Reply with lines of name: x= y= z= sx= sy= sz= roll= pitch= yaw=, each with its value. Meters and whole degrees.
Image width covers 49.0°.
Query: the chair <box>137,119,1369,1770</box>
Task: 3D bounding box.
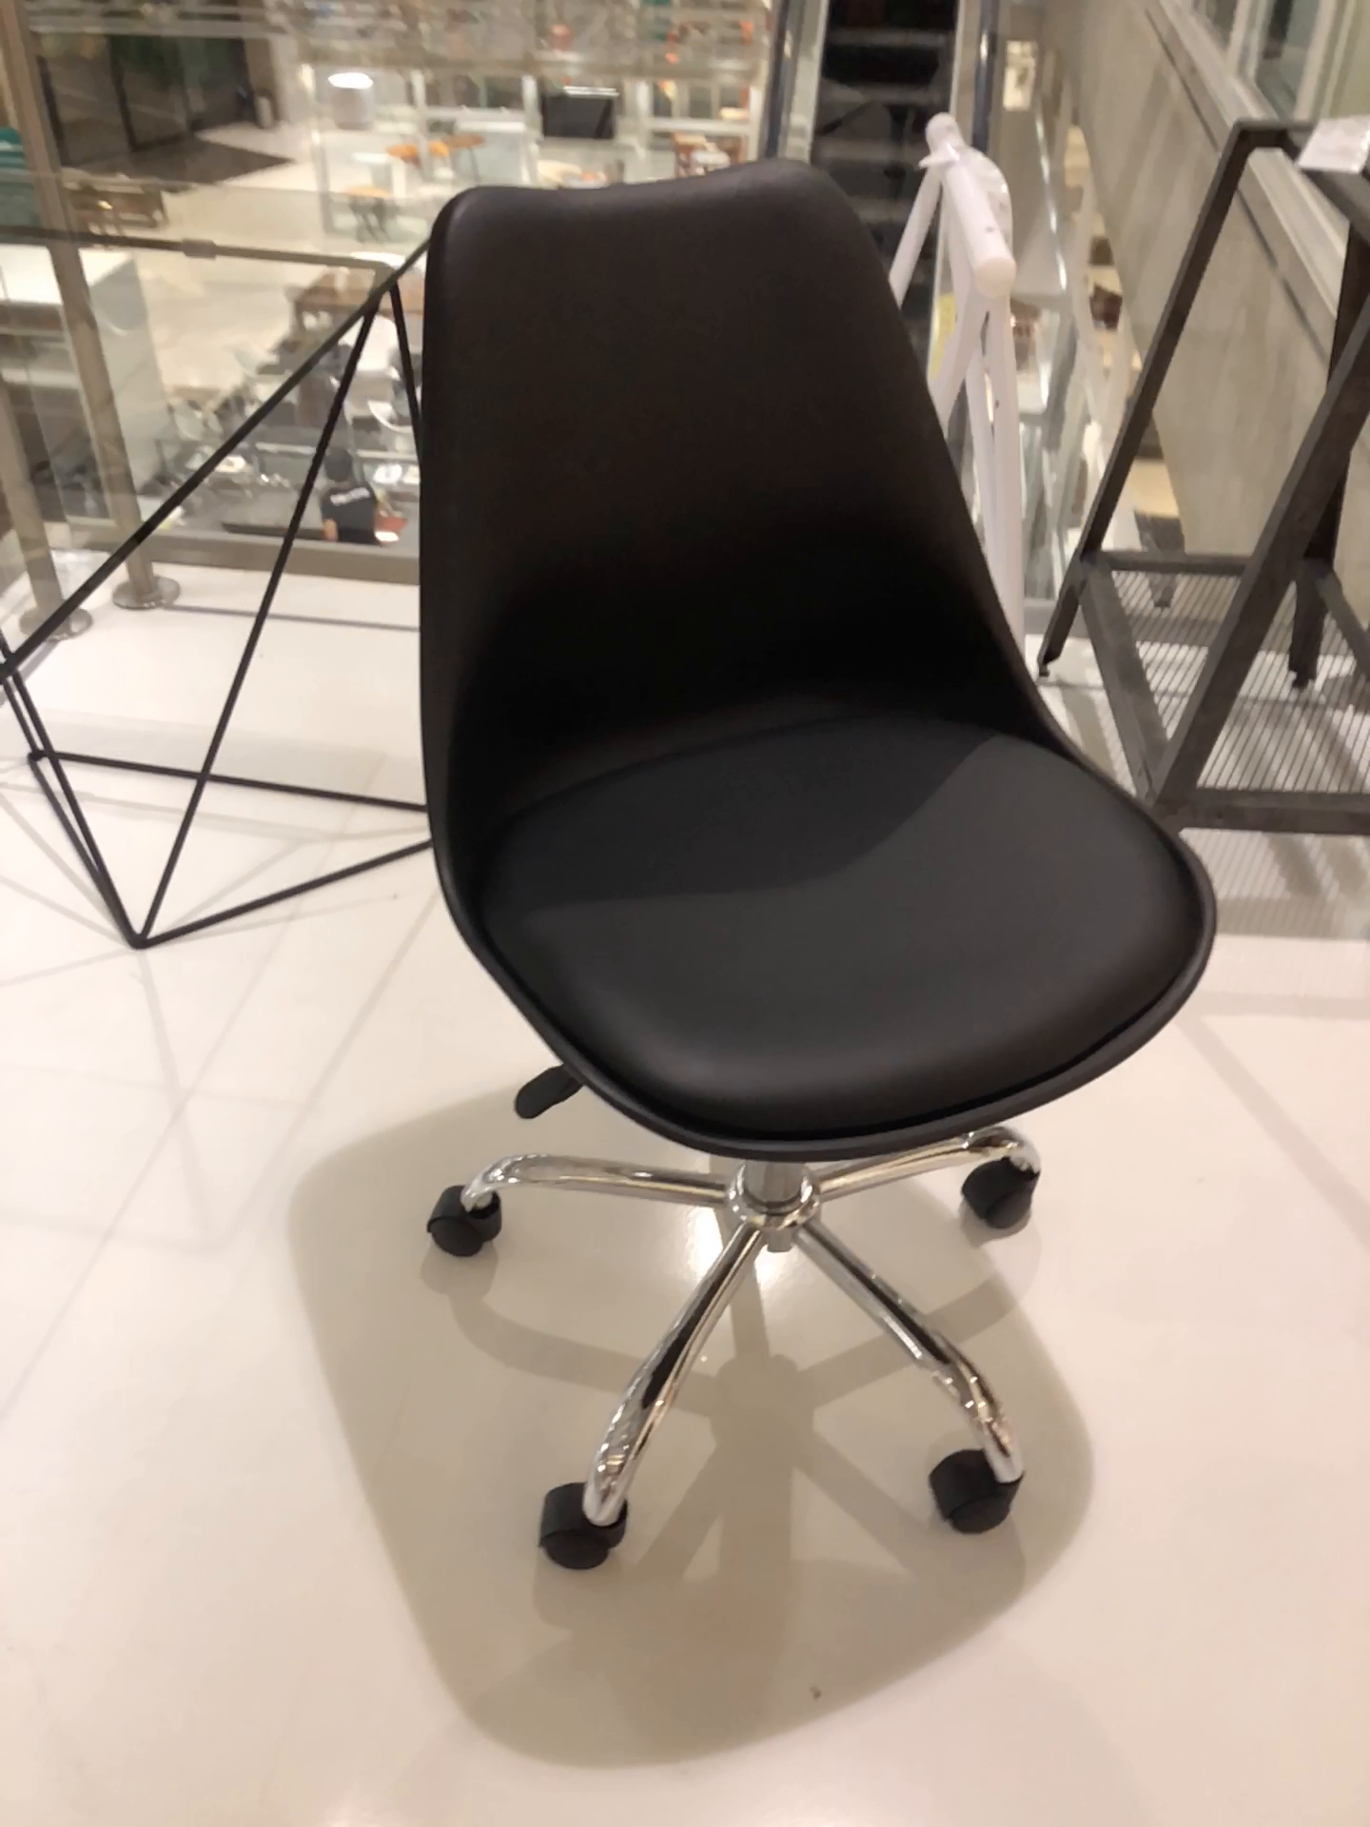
chair: x=0.080 y=-0.016 z=1.071 sx=0.631 sy=0.824 sz=0.634 roll=-16 pitch=42 yaw=-20
